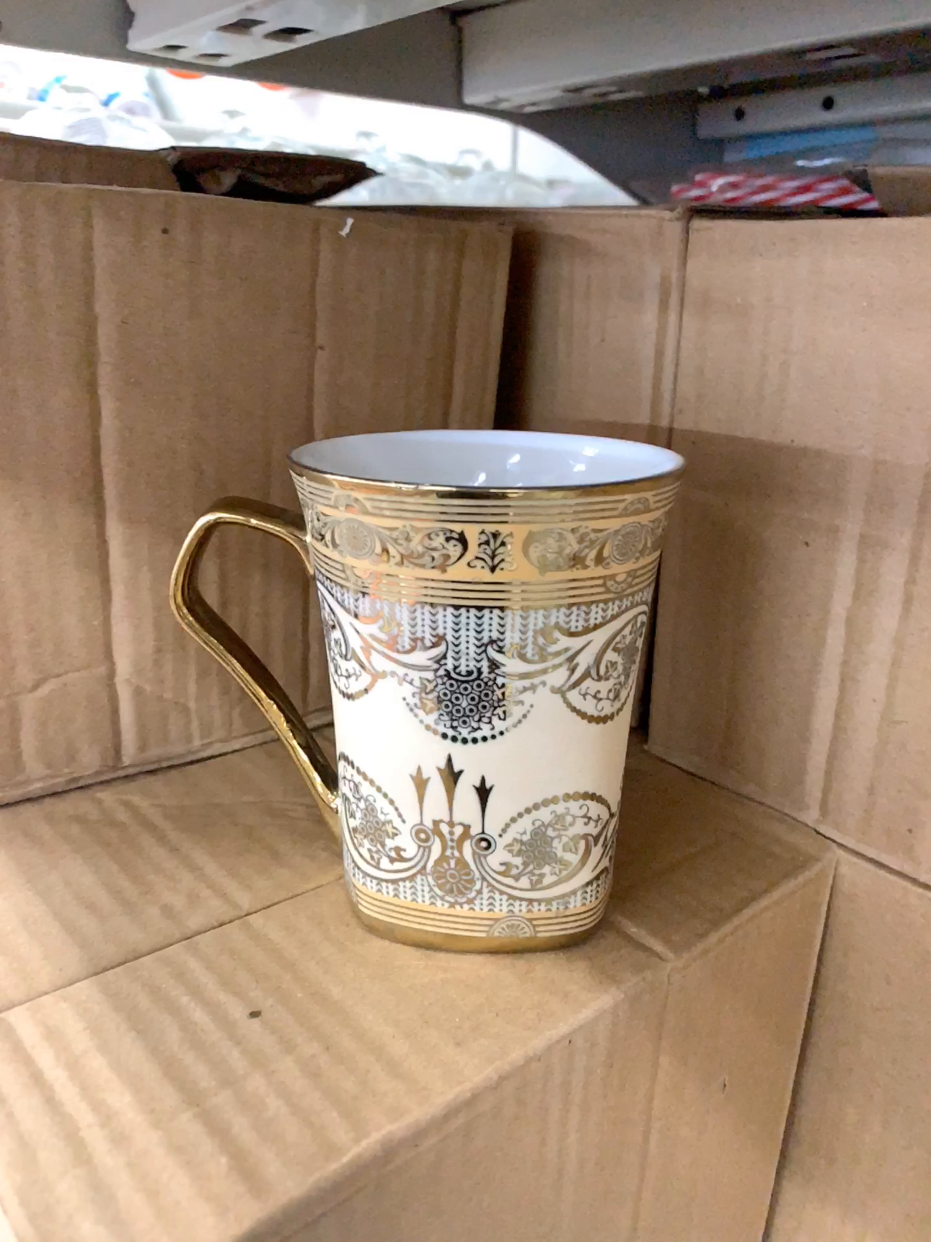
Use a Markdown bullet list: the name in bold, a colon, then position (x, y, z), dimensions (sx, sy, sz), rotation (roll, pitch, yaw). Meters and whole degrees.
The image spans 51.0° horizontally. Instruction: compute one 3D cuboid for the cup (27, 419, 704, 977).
- **cup**: position (-0.015, 0.009, 0.209), dimensions (0.110, 0.089, 0.080), rotation (2, 19, 3)
